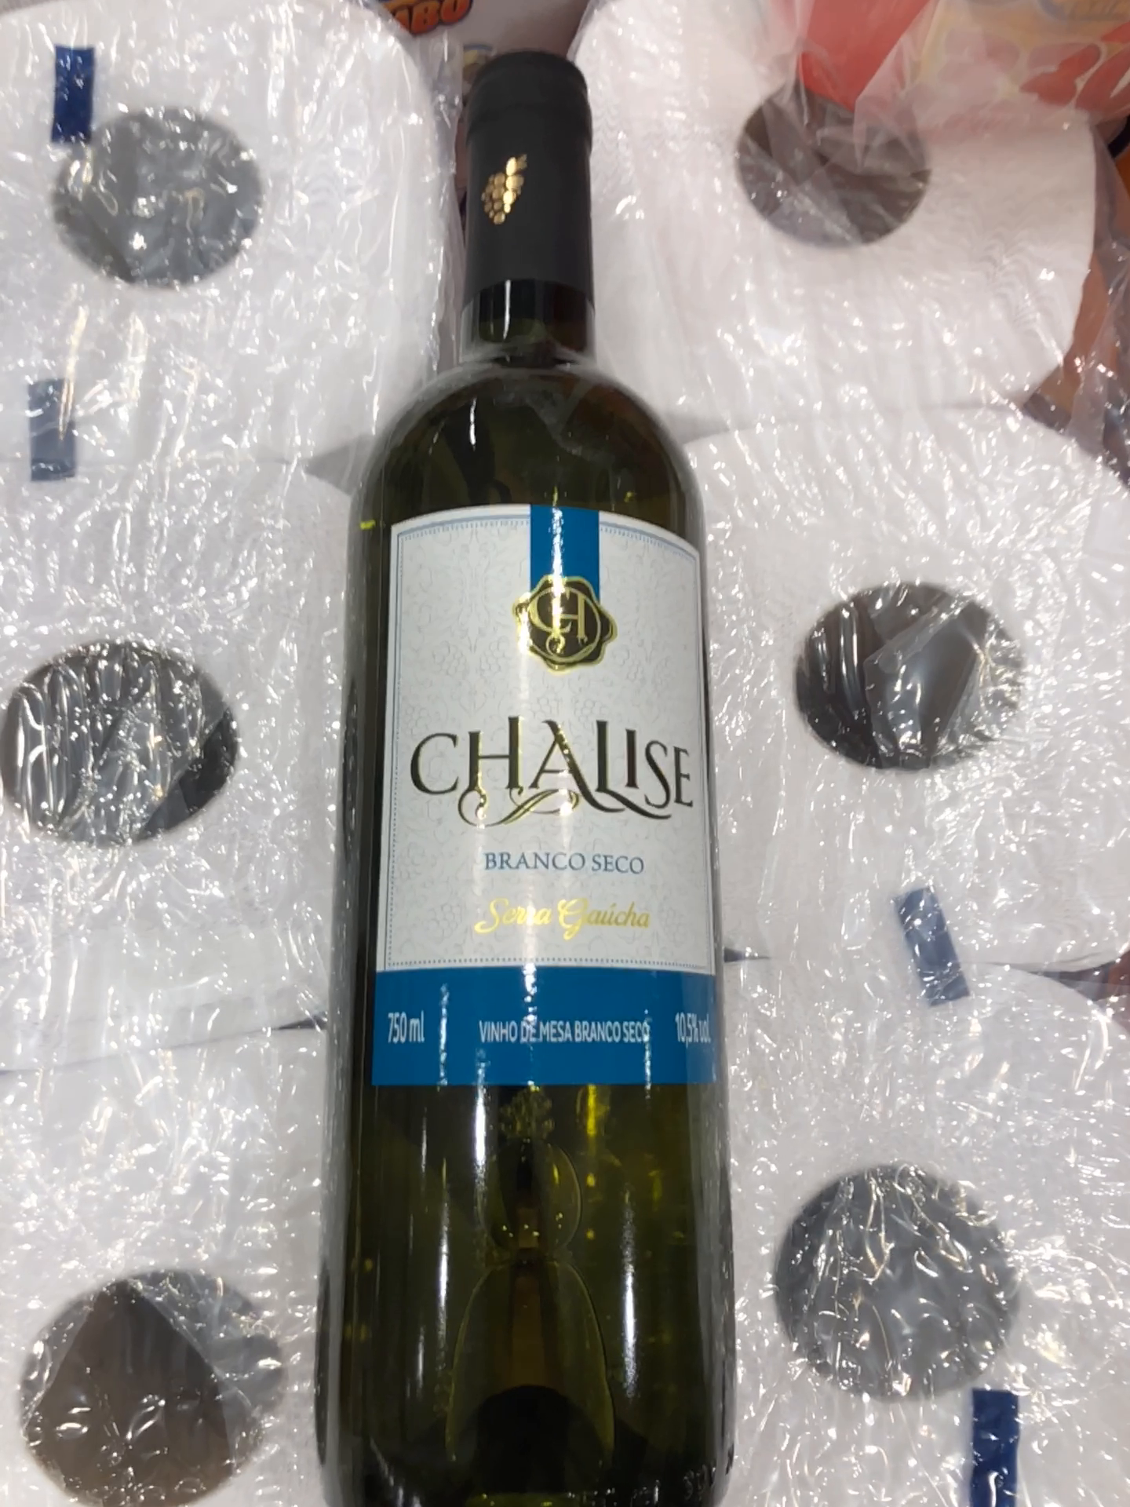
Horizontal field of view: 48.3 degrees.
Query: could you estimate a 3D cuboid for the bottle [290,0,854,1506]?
[{"bbox_3d":[-0.002,-0.005,0.242,0.080,0.060,0.280,4,75,-14],"label":"bottle"}]
